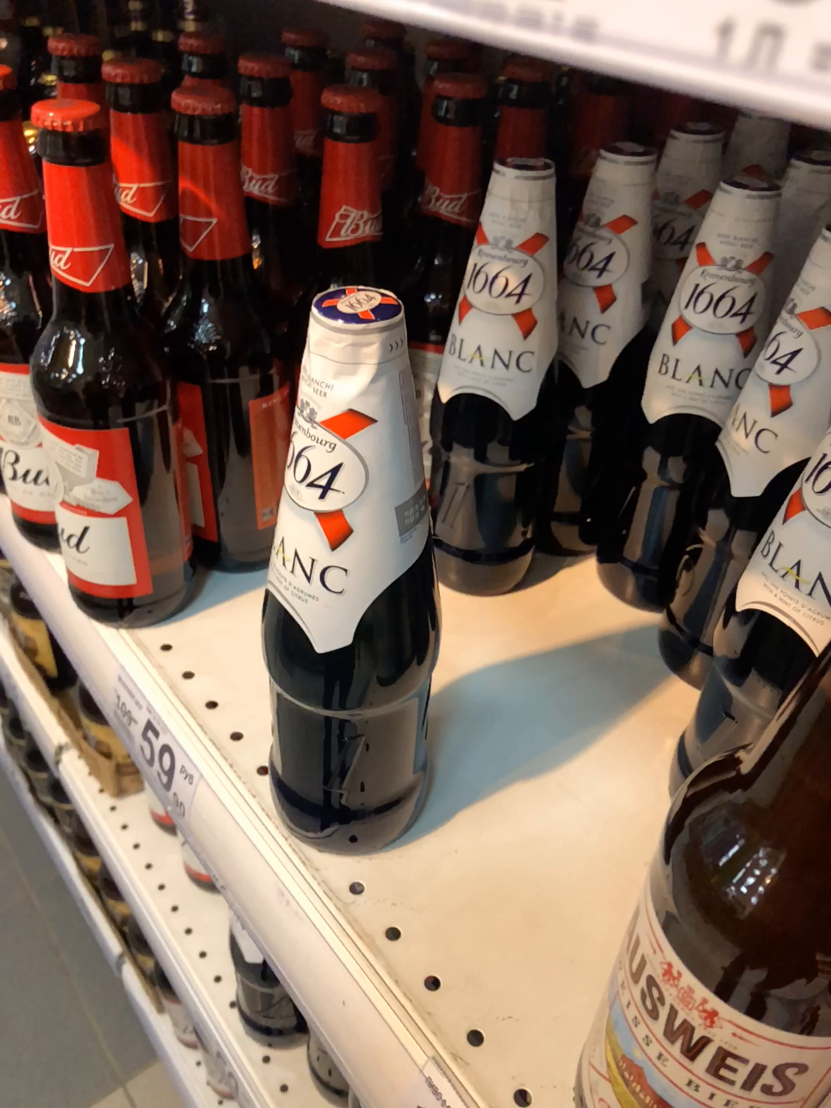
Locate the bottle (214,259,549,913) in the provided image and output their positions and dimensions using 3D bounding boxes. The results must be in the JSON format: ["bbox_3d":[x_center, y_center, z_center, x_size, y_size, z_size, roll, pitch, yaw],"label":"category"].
[{"bbox_3d":[-0.016,0.022,0.349,0.070,0.234,0.080,-20,43,-27],"label":"bottle"}]
